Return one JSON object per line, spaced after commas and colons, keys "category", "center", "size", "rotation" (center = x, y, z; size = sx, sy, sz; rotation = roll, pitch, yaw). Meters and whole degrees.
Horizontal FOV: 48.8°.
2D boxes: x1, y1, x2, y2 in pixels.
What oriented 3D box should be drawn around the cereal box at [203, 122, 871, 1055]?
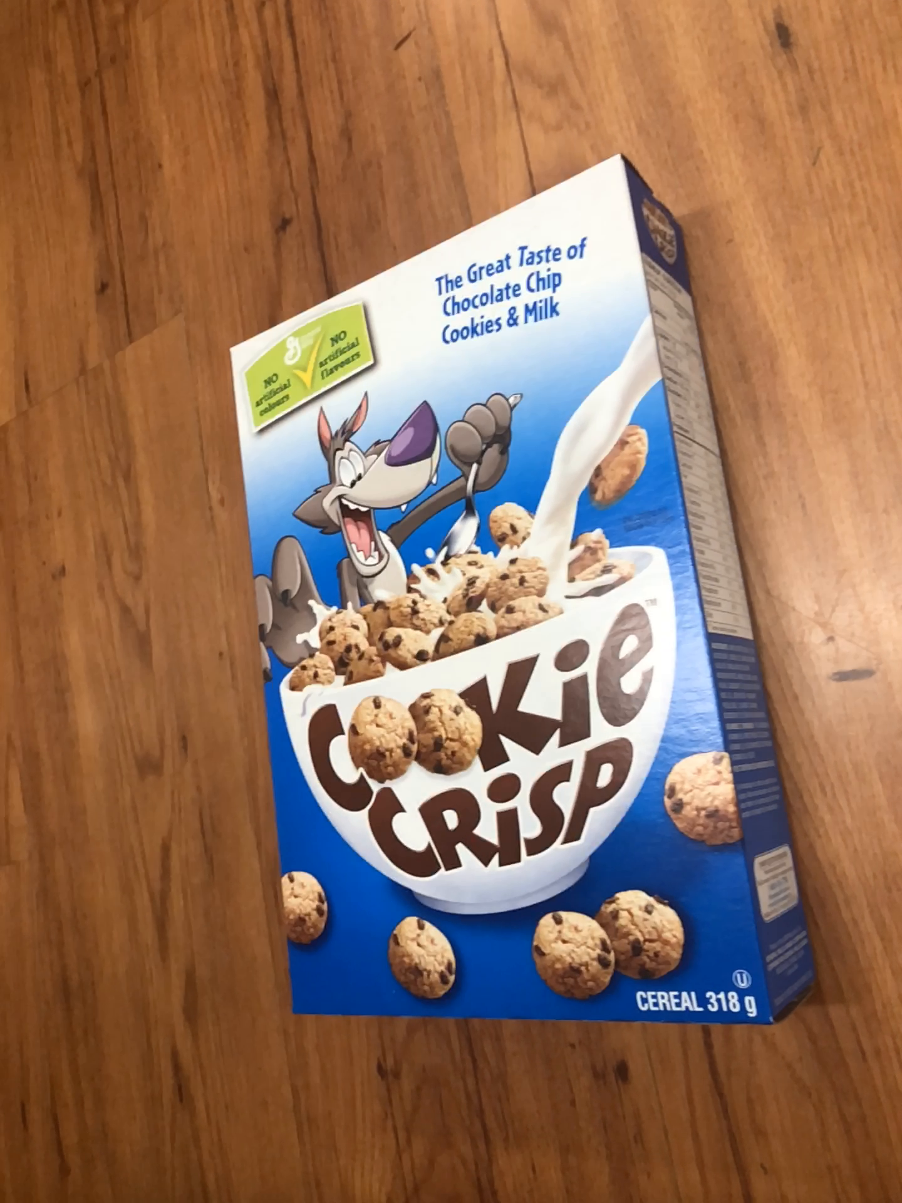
{"category": "cereal box", "center": [0.014, 0.008, 0.369], "size": [0.201, 0.060, 0.280], "rotation": [-15, 79, 33]}
